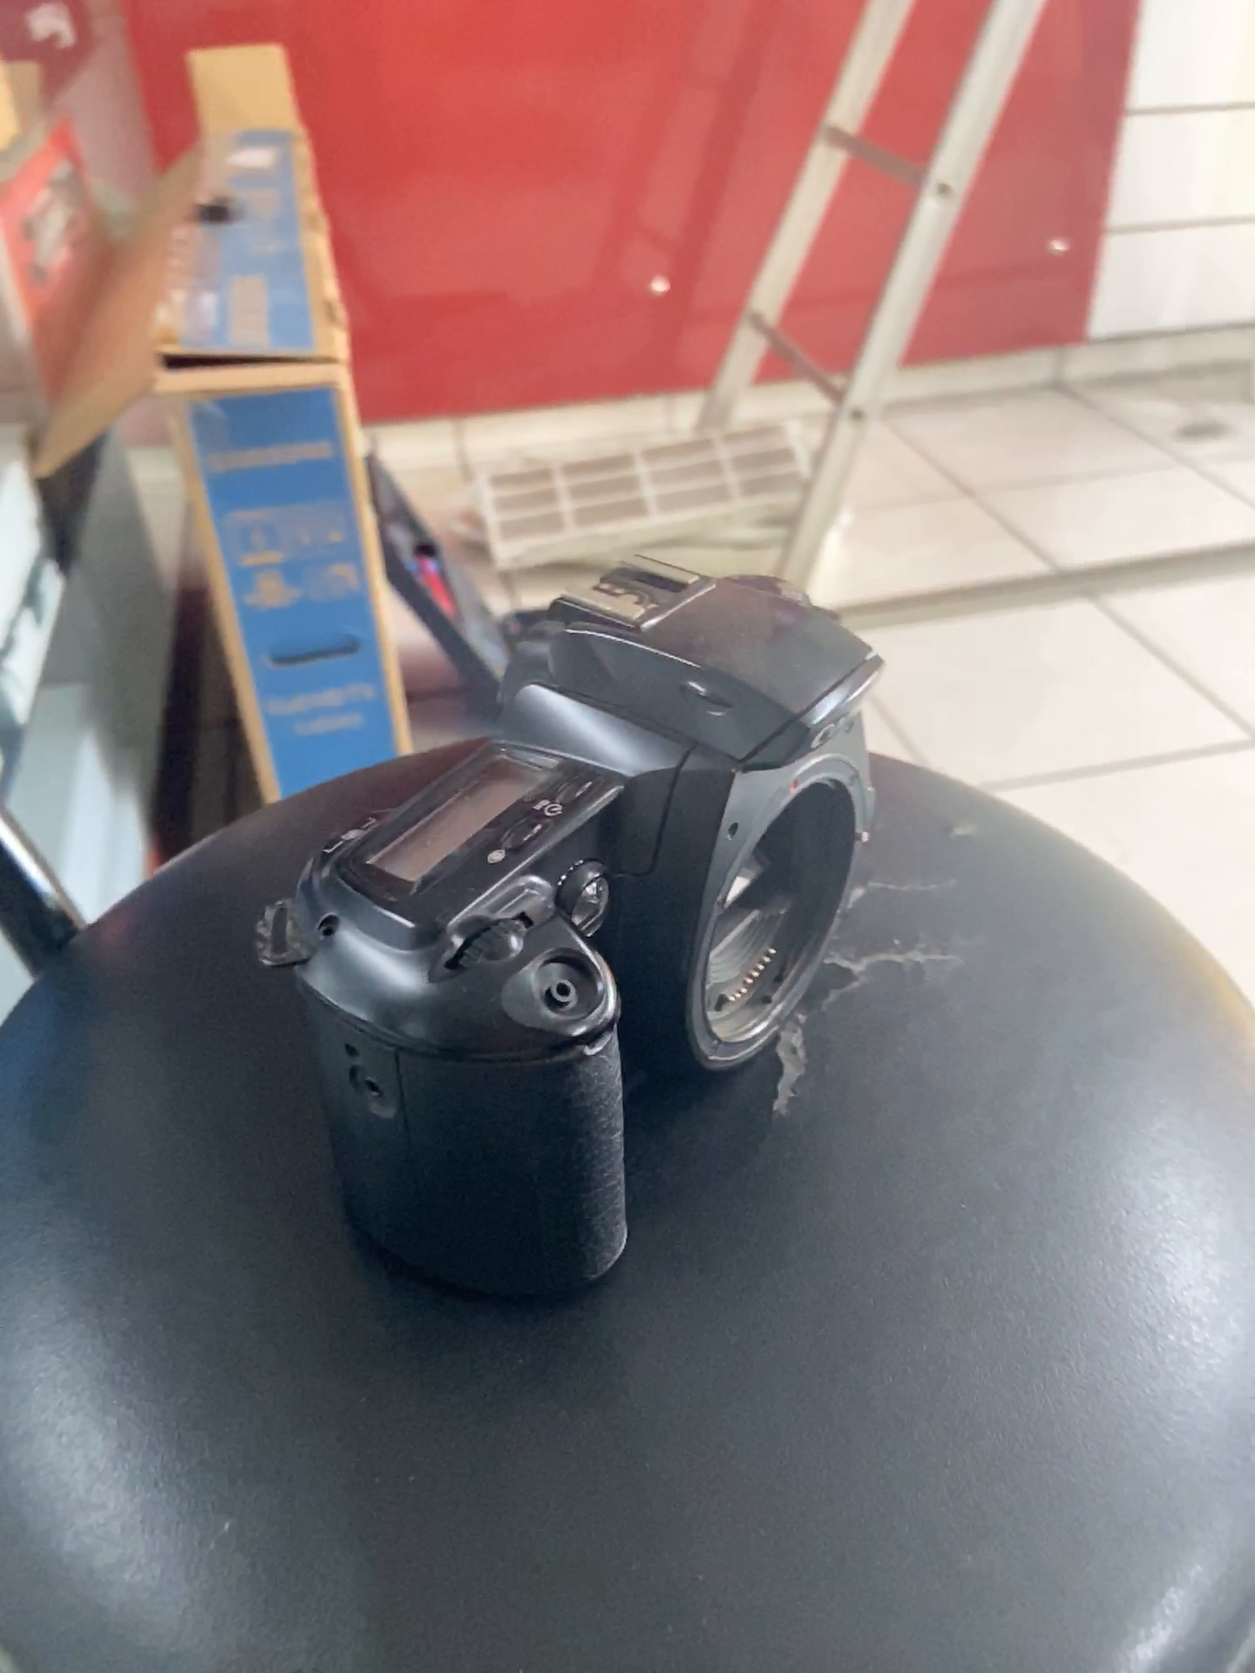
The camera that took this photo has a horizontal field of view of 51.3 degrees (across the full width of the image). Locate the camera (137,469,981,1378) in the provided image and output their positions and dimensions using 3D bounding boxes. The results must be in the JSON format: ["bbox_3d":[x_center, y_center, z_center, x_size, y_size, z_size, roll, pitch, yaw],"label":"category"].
[{"bbox_3d":[0.000,0.004,0.244,0.070,0.089,0.141,21,42,29],"label":"camera"}]
